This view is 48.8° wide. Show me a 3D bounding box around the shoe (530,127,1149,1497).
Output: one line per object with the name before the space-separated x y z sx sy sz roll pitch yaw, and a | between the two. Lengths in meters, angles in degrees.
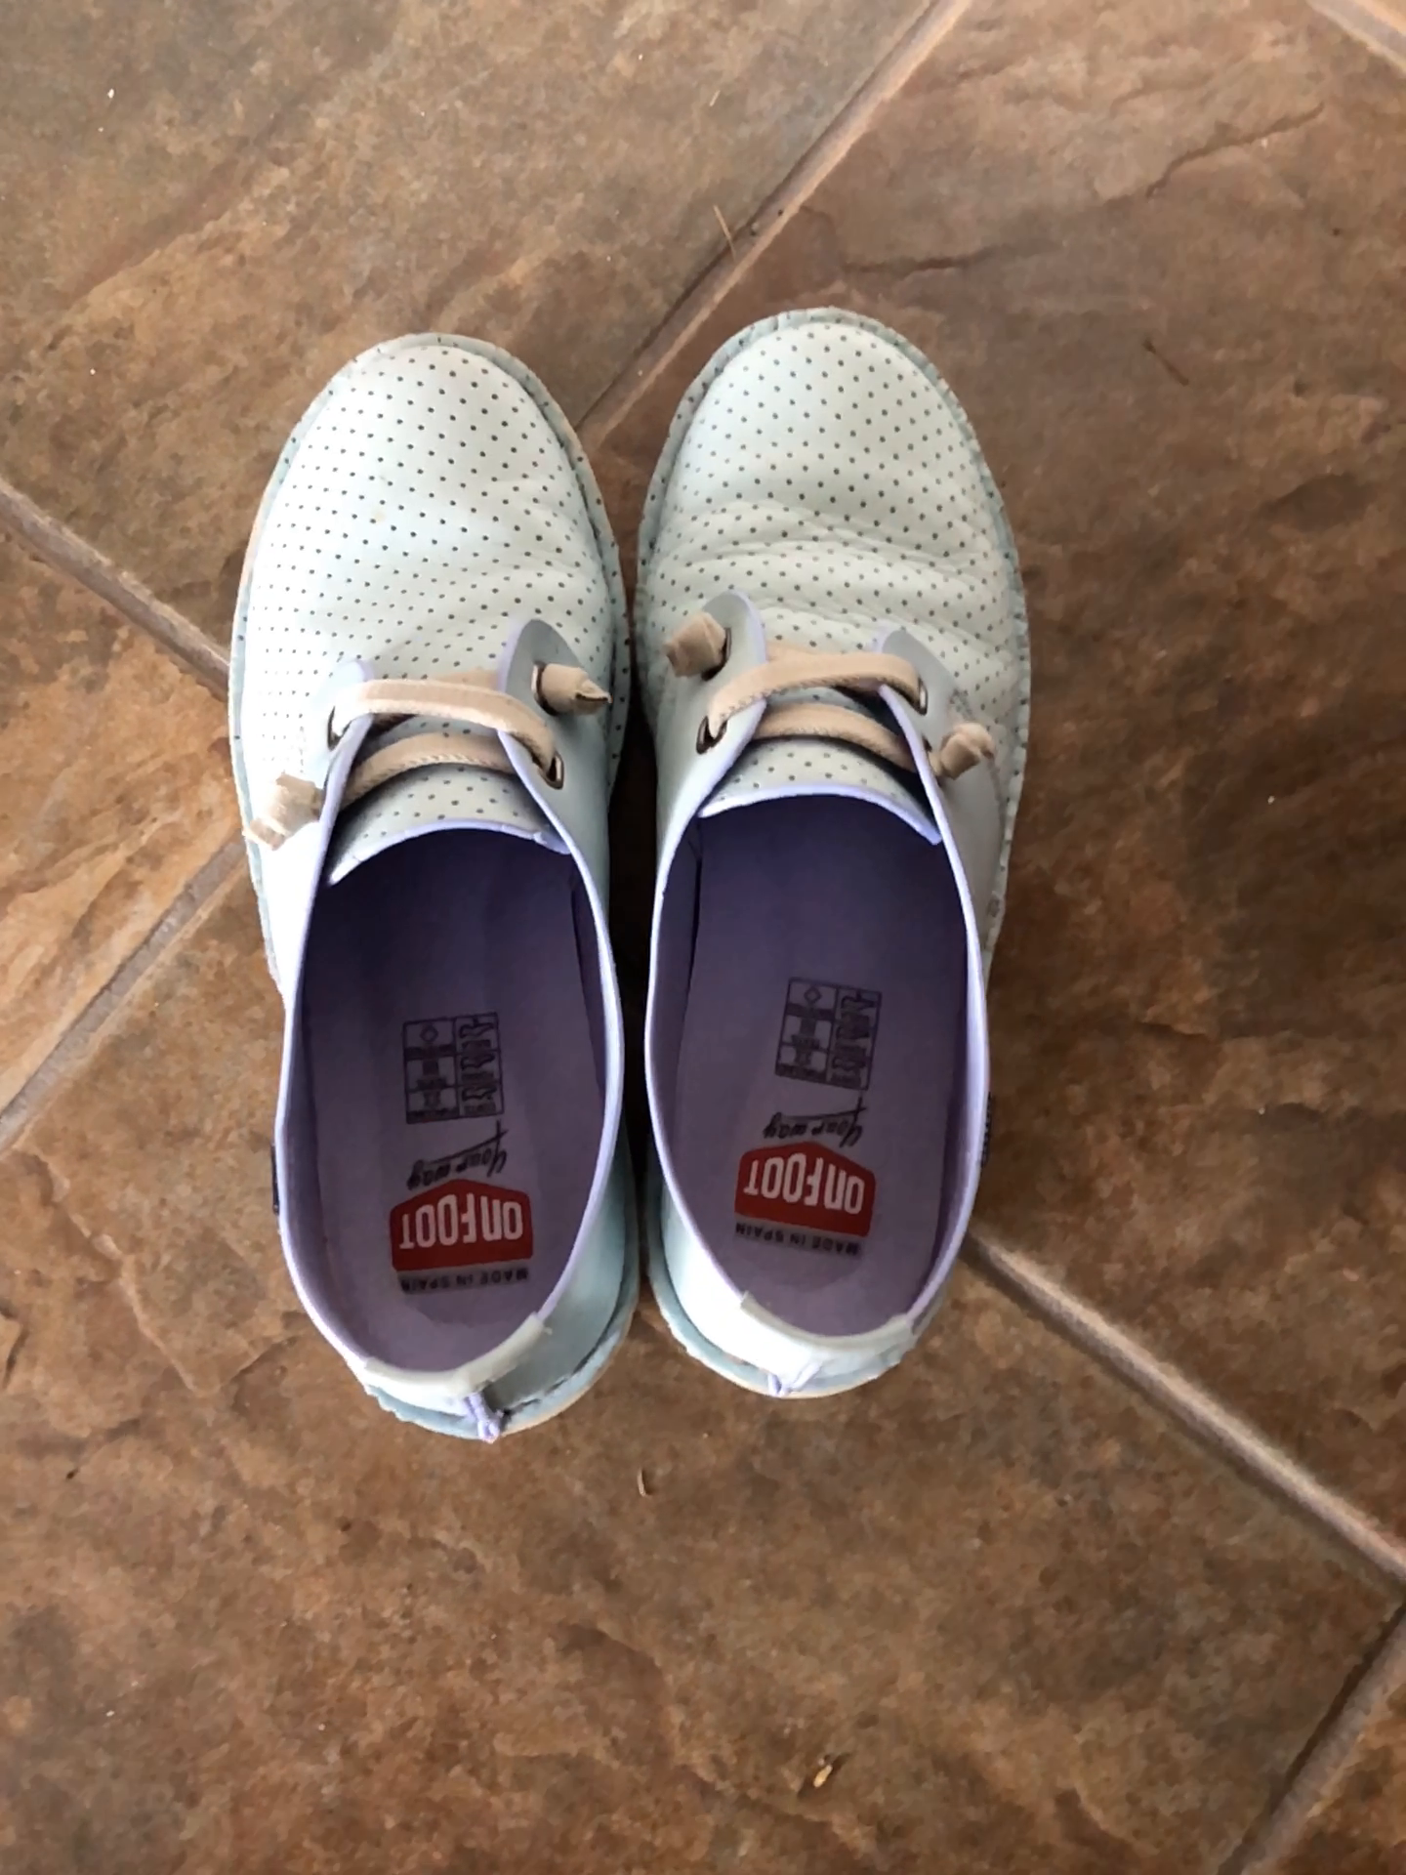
shoe | 0.027 -0.024 0.334 0.100 0.100 0.250 4 82 -1

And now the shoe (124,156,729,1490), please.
shoe | -0.057 -0.023 0.341 0.100 0.100 0.250 -4 82 -2
